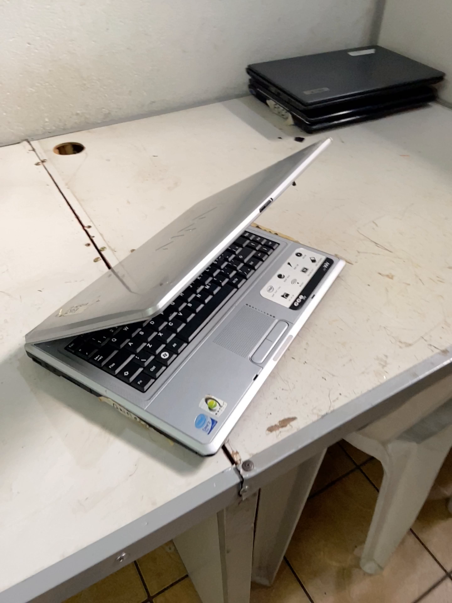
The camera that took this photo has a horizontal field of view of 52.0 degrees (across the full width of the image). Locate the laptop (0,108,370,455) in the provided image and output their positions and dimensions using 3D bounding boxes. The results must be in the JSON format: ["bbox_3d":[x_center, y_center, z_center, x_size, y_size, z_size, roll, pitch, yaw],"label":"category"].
[{"bbox_3d":[-0.029,-0.060,0.514,0.242,0.153,0.337,23,47,22],"label":"laptop"}]
